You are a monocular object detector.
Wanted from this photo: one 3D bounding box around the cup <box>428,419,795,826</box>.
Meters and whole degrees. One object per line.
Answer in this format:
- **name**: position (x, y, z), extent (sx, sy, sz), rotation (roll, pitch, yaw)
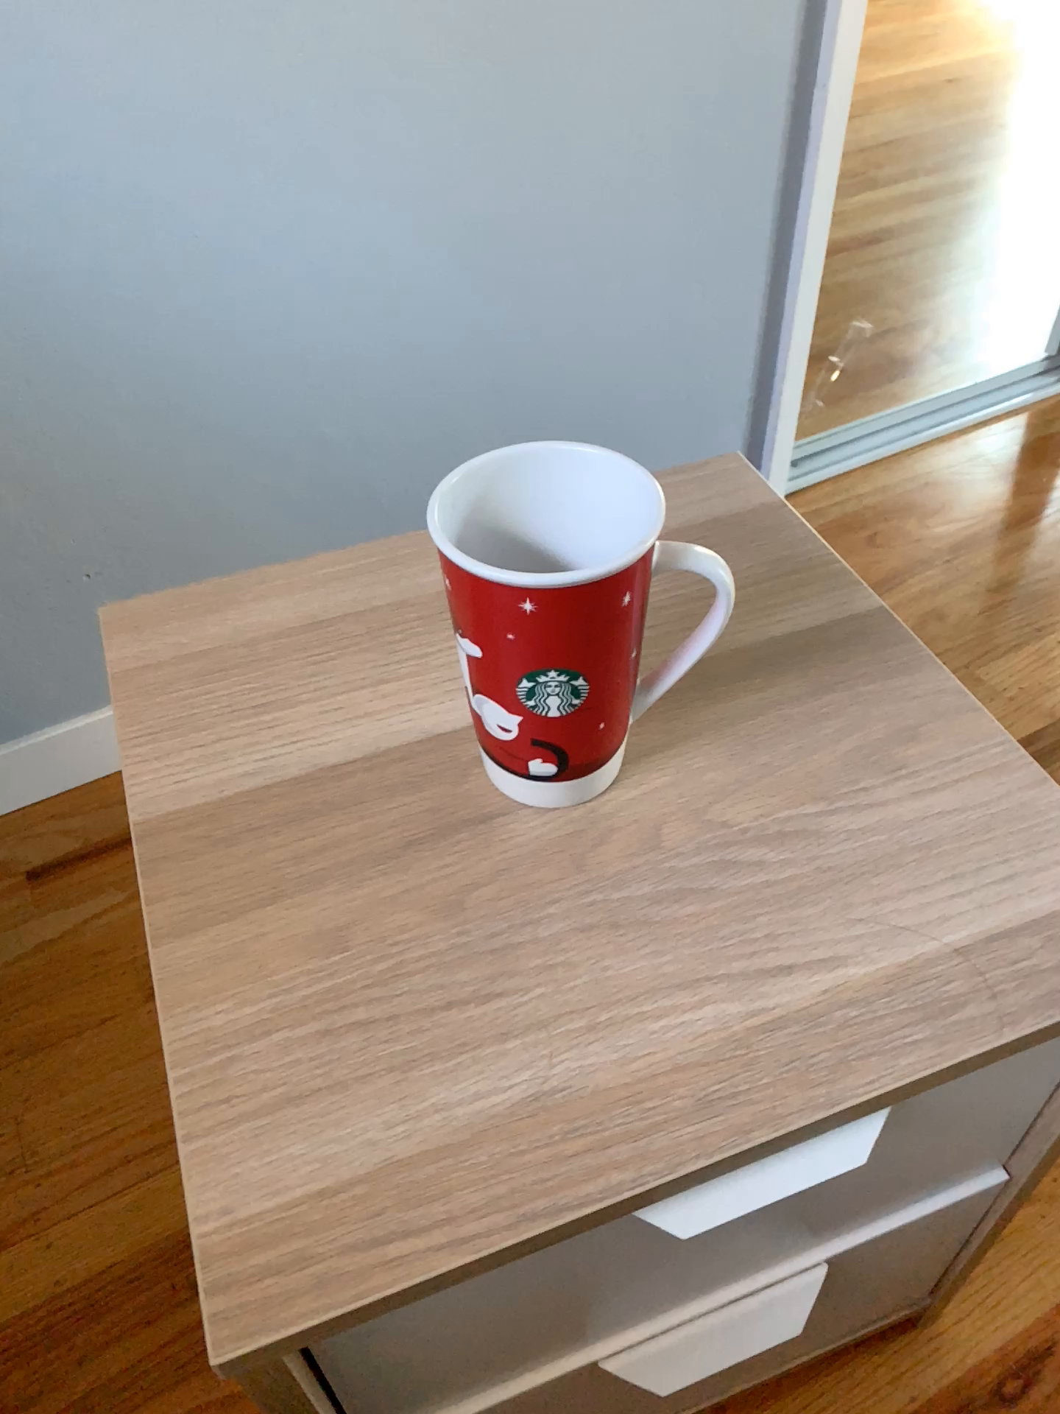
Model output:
- **cup**: position (0.029, -0.032, 0.465), extent (0.130, 0.149, 0.080), rotation (-4, 46, -1)
